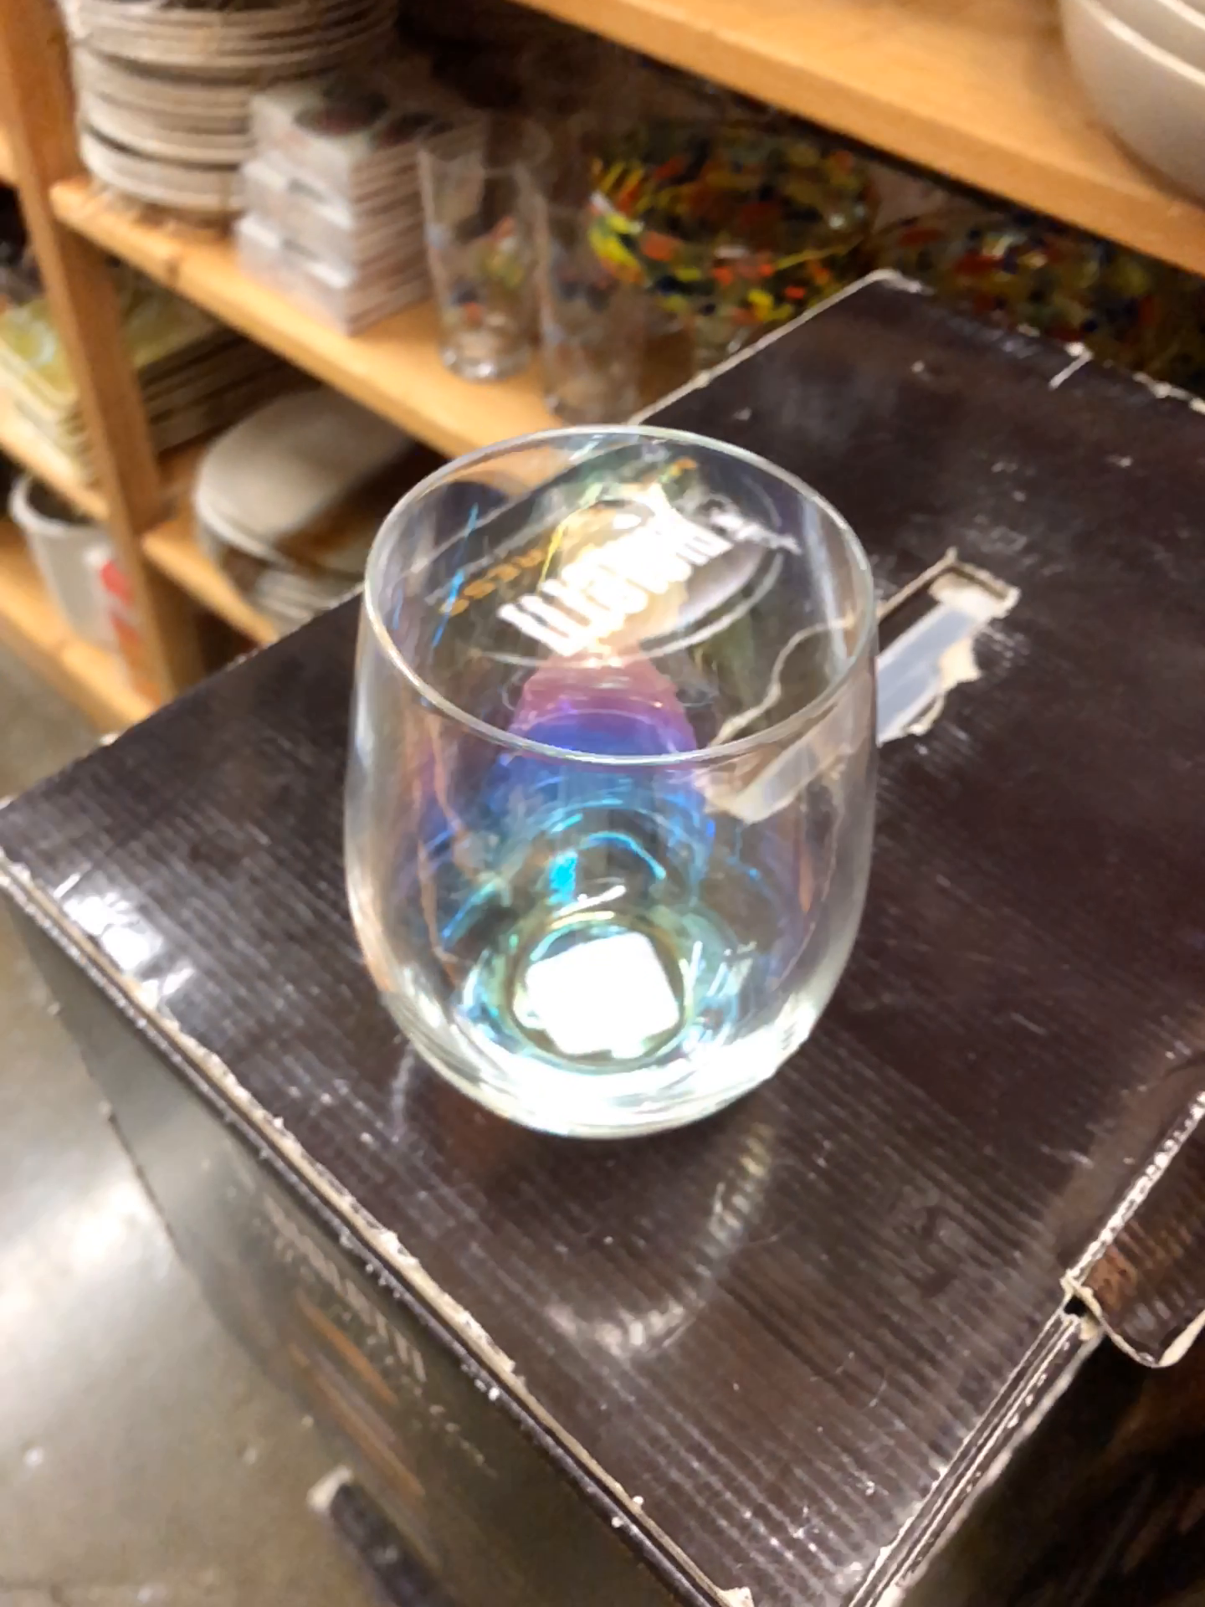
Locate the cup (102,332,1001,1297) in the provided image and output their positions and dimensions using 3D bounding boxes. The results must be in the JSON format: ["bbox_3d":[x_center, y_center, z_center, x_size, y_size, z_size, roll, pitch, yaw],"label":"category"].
[{"bbox_3d":[-0.009,0.002,0.235,0.093,0.107,0.089,2,50,-2],"label":"cup"}]
